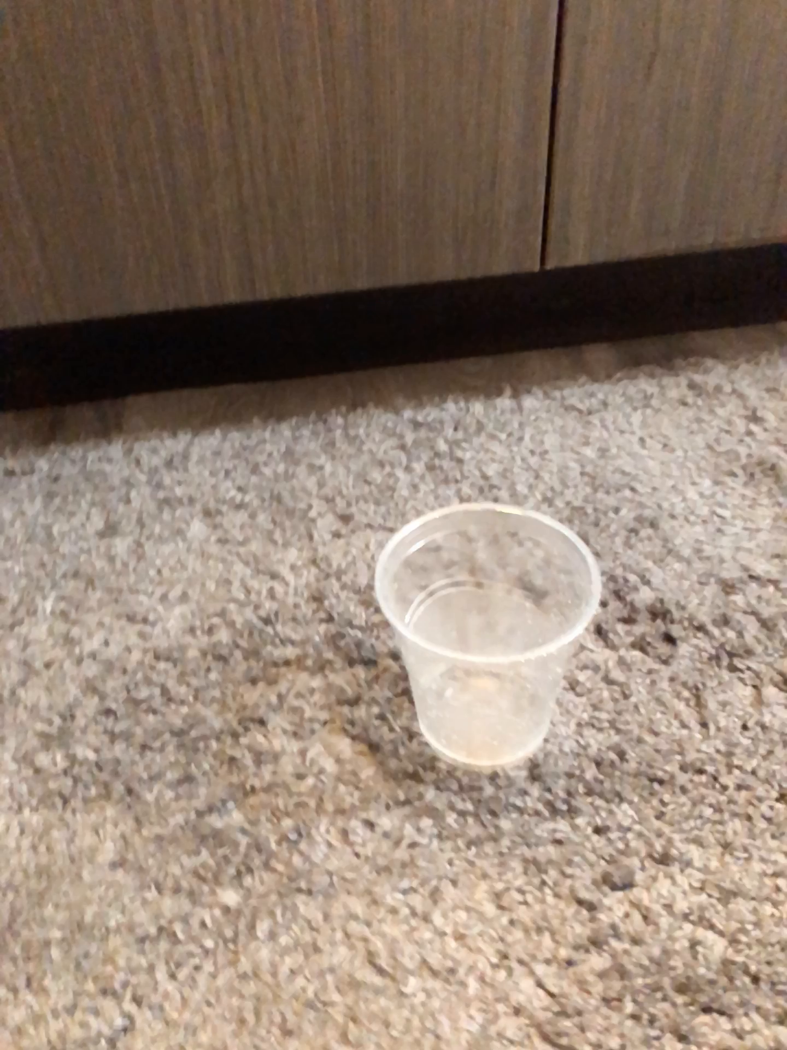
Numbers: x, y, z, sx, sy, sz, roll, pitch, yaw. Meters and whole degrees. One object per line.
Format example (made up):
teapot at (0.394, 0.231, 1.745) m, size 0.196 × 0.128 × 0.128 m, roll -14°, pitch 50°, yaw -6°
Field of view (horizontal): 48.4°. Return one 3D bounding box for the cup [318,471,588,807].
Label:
cup at (0.027, 0.043, 0.354) m, size 0.090 × 0.090 × 0.090 m, roll -2°, pitch 38°, yaw 1°
